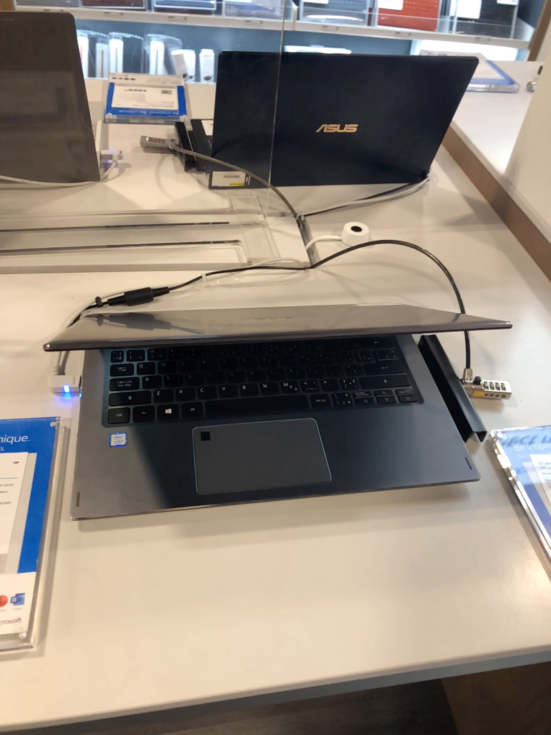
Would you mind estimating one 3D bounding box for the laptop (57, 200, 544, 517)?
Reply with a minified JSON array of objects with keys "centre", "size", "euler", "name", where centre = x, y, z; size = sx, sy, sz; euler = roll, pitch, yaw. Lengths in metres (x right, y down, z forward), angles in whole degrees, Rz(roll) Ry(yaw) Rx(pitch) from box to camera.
[{"centre":[0.005,-0.023,0.482],"size":[0.301,0.123,0.212],"euler":[-3,45,-10],"name":"laptop"}]
